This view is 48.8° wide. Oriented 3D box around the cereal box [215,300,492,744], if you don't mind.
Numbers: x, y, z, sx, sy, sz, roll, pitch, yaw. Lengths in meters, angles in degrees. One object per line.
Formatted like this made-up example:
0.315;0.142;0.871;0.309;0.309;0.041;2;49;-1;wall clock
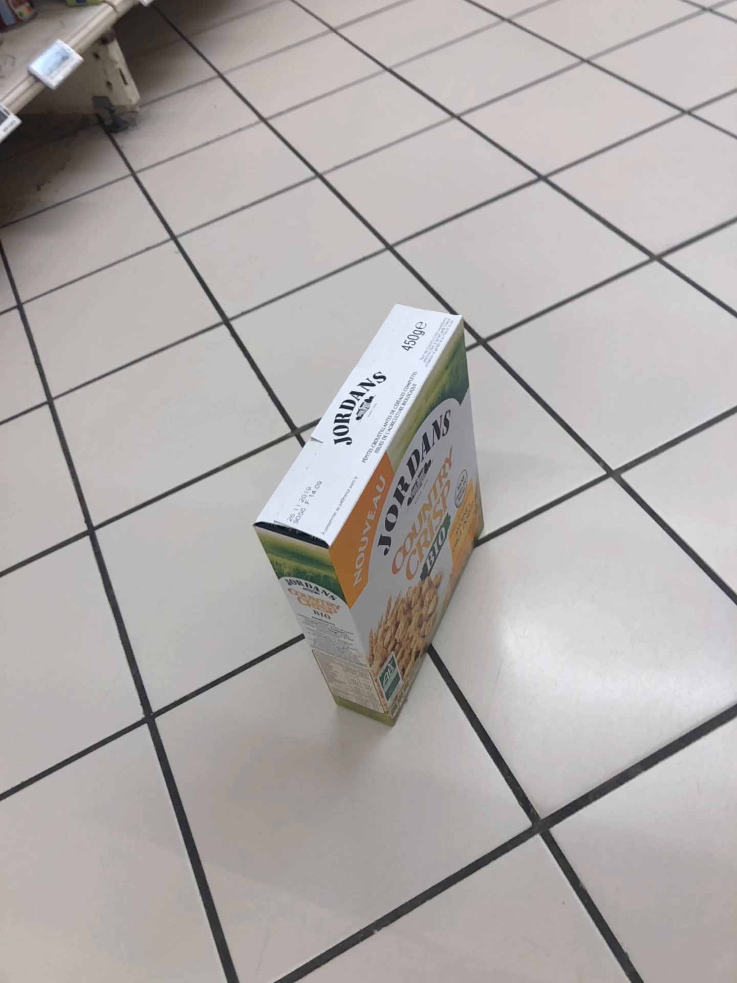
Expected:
0.010;0.024;0.523;0.060;0.209;0.191;14;55;24;cereal box
